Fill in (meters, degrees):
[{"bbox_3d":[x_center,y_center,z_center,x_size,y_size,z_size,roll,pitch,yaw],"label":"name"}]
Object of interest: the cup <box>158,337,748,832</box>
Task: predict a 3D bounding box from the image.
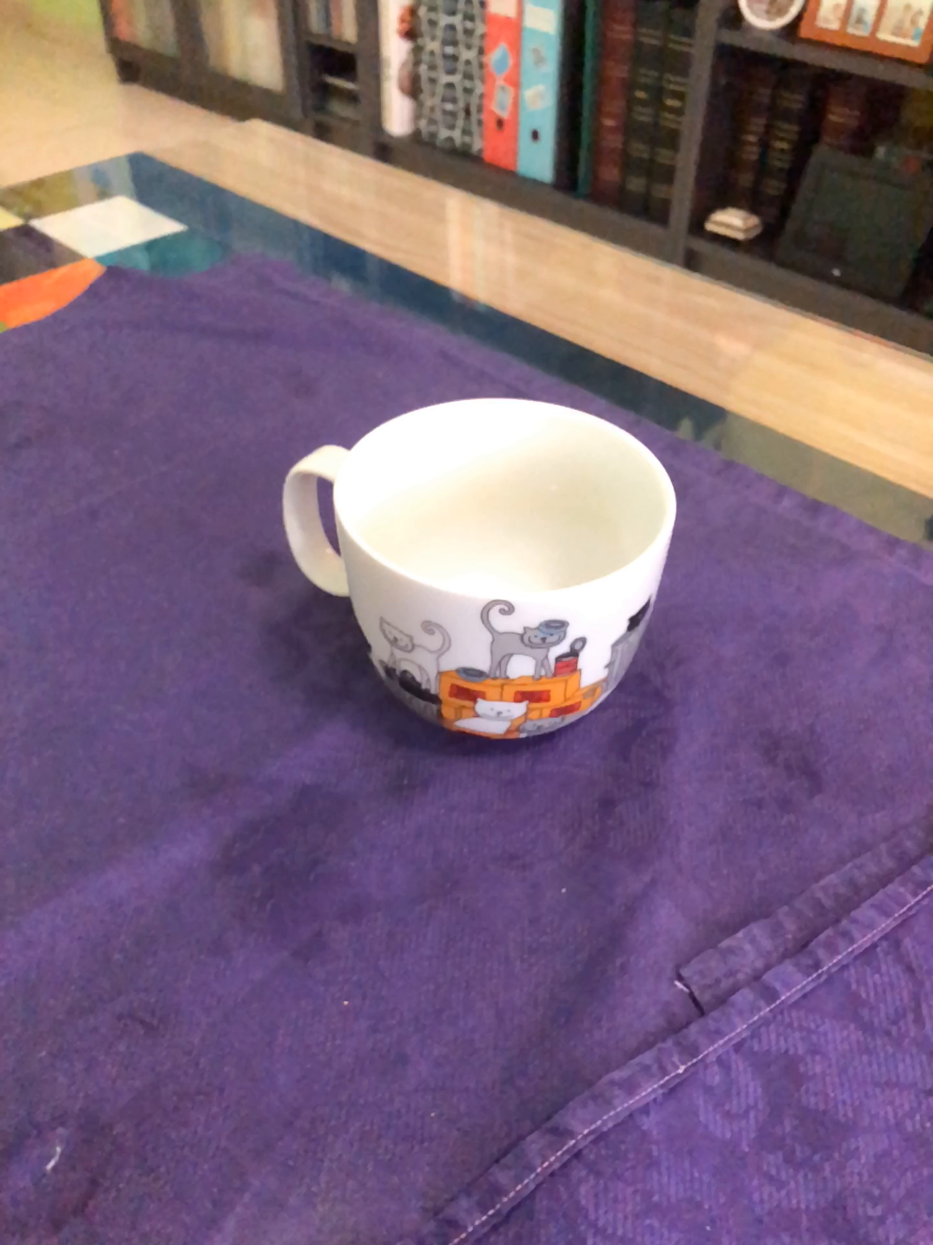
[{"bbox_3d":[-0.004,-0.020,0.318,0.140,0.070,0.090,23,46,24],"label":"cup"}]
